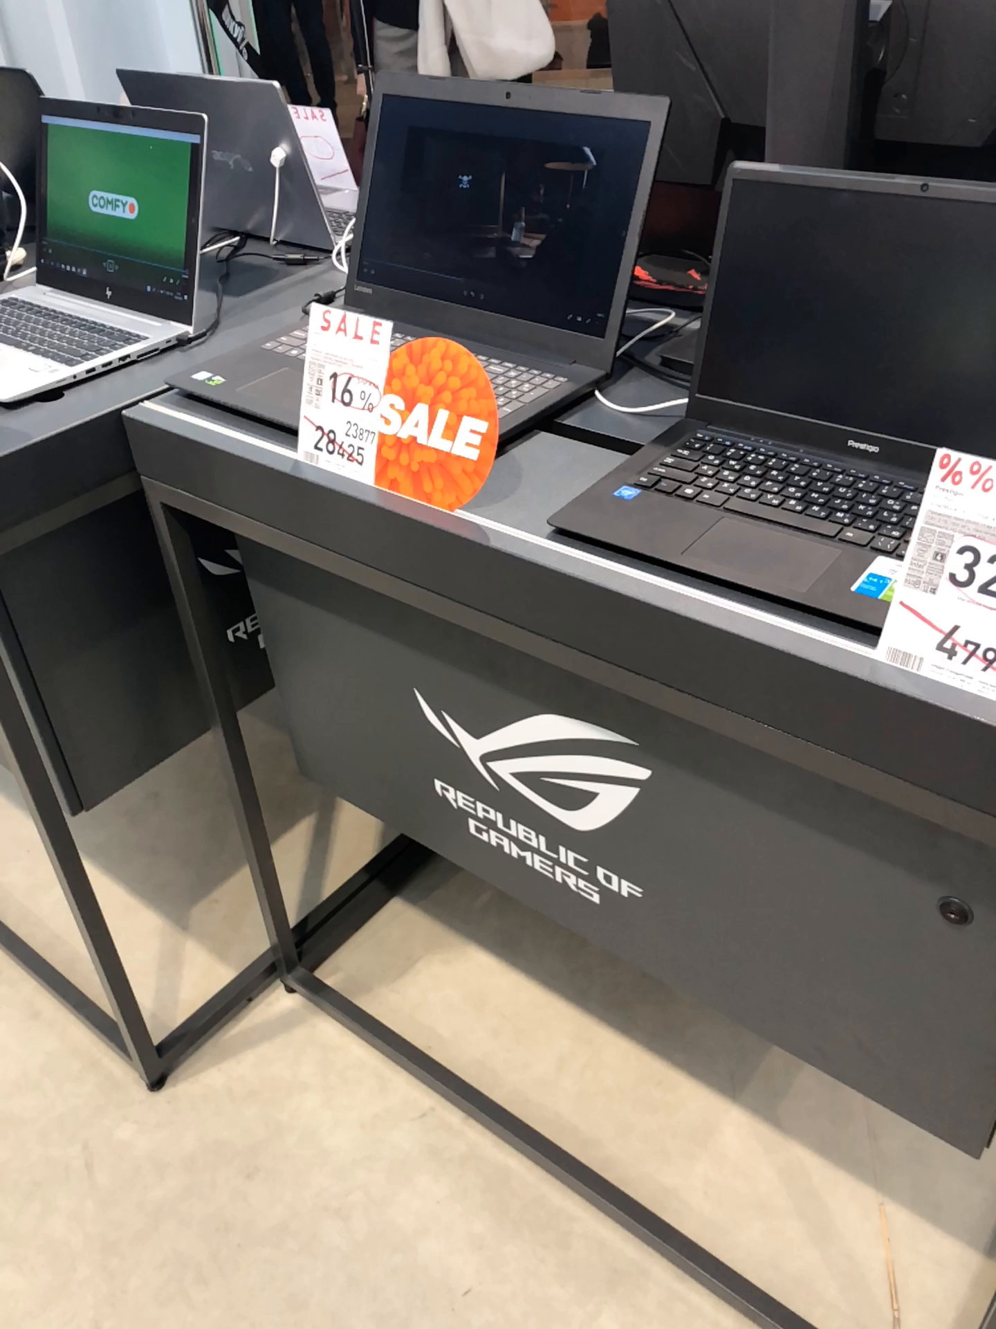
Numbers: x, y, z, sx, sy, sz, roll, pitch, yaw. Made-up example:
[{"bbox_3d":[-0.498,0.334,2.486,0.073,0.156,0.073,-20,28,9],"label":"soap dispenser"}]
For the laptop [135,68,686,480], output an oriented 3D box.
[{"bbox_3d":[-0.076,-0.407,1.073,0.383,0.235,0.335,25,46,33],"label":"laptop"}]
